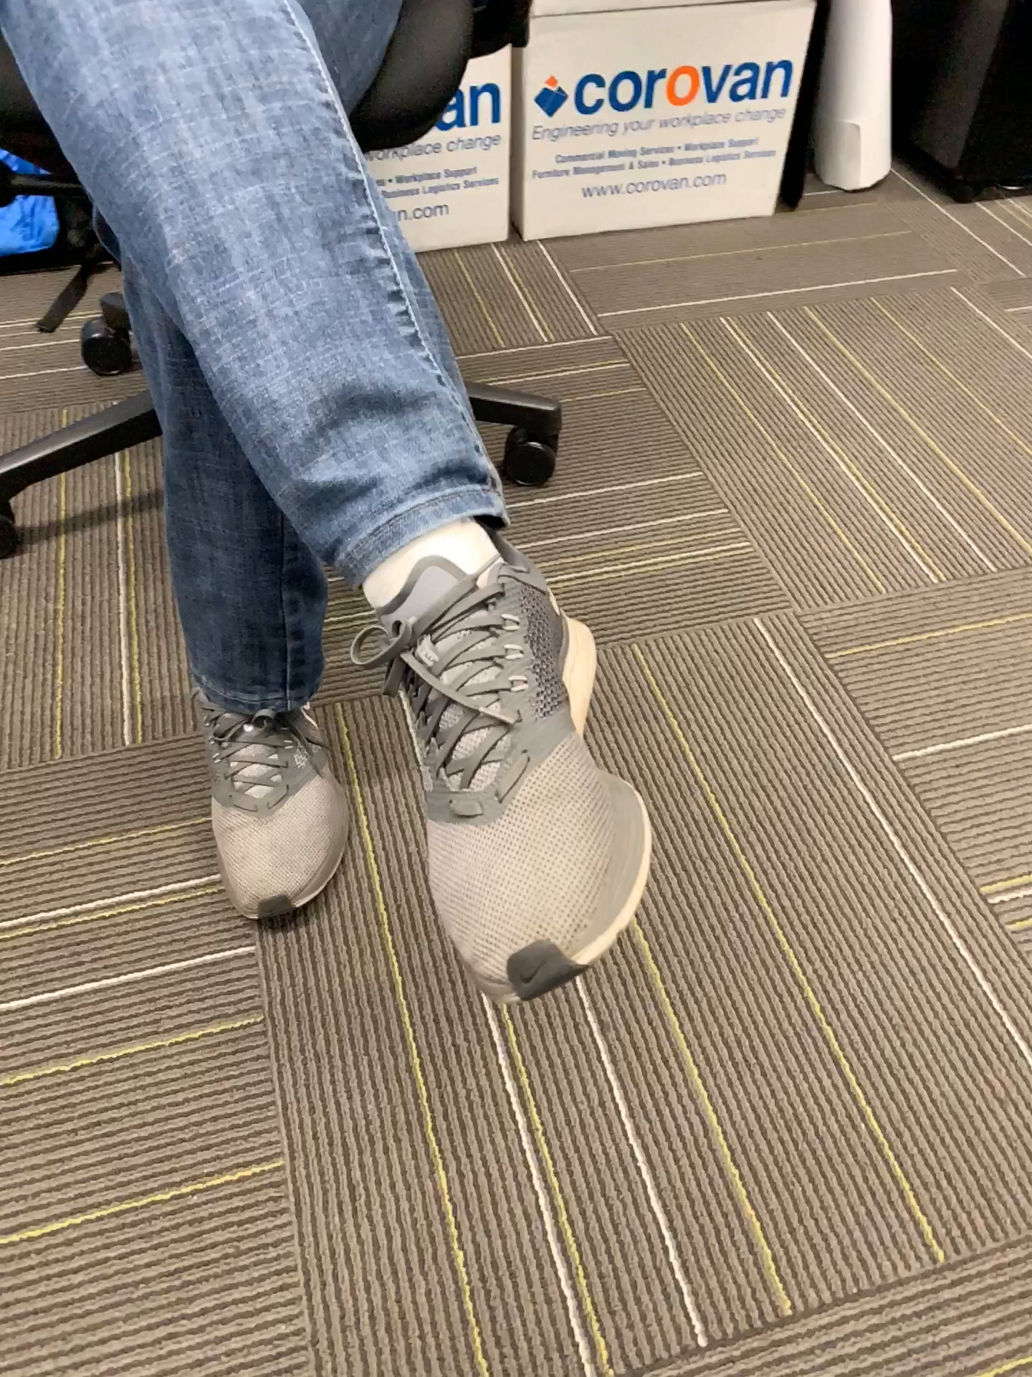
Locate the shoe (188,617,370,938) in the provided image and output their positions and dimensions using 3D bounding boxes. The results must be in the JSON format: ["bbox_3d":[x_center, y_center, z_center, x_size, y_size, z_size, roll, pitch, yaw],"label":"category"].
[{"bbox_3d":[-0.212,0.068,0.926,0.120,0.085,0.270,-10,48,-10],"label":"shoe"}]

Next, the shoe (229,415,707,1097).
[{"bbox_3d":[-0.020,0.016,0.525,0.122,0.142,0.296,-34,33,24],"label":"shoe"}]
